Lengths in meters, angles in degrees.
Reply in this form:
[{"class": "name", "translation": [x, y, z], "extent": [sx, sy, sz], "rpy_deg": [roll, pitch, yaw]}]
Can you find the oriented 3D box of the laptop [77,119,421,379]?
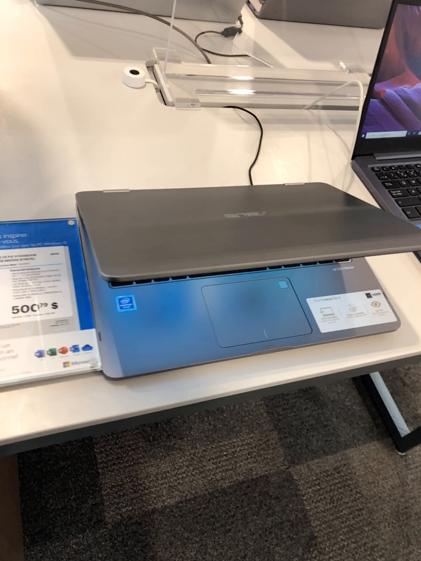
[{"class": "laptop", "translation": [0.046, -0.050, 0.466], "extent": [0.322, 0.105, 0.215], "rpy_deg": [-6, 56, -19]}]
